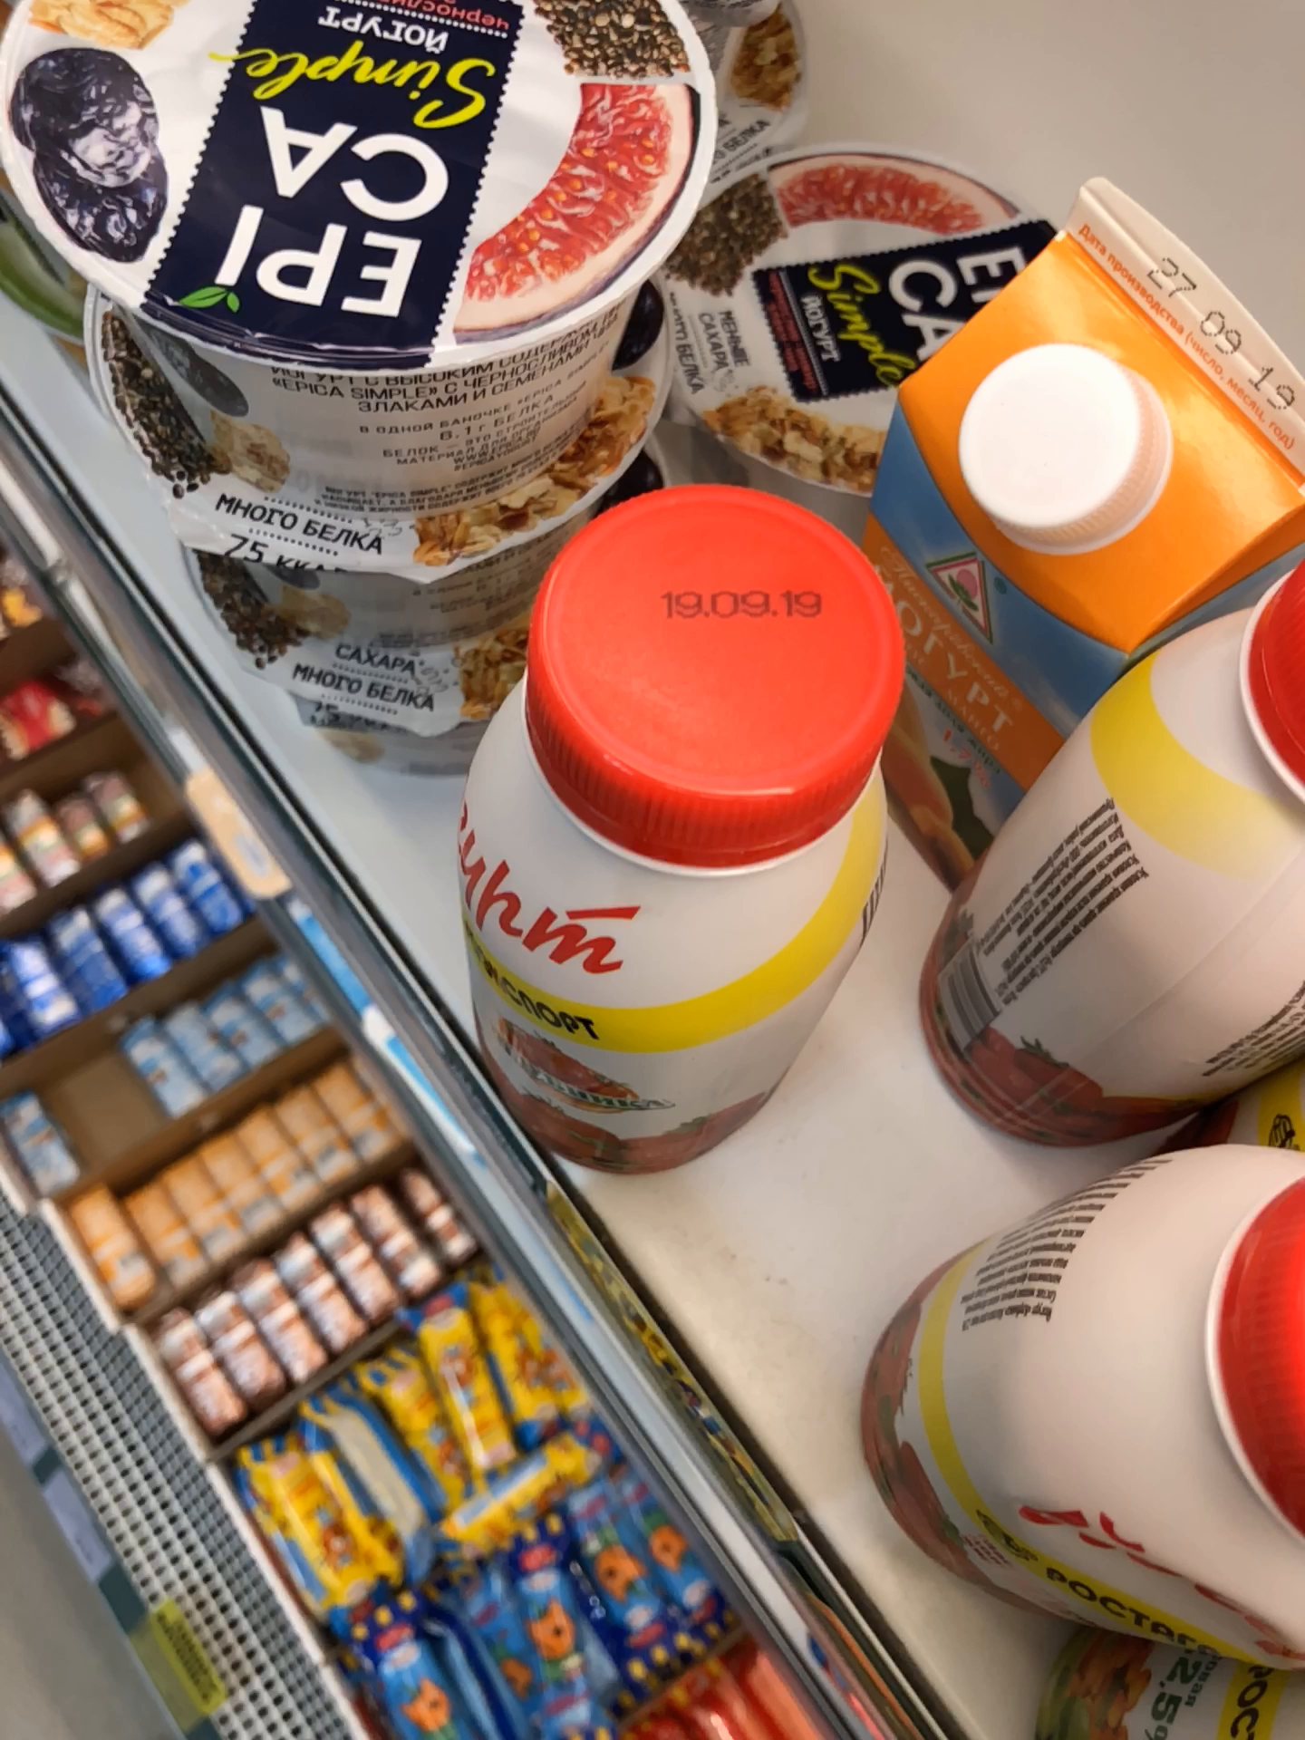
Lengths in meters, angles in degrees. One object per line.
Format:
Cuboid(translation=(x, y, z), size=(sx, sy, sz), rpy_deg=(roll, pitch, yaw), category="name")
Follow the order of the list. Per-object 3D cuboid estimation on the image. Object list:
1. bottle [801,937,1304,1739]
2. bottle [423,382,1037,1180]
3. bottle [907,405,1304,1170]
Cuboid(translation=(0.069, 0.070, 0.194), size=(0.058, 0.147, 0.057), rpy_deg=(1, 68, -3), category="bottle")
Cuboid(translation=(0.002, 0.002, 0.218), size=(0.056, 0.147, 0.058), rpy_deg=(1, 68, -3), category="bottle")
Cuboid(translation=(0.080, 0.003, 0.222), size=(0.052, 0.147, 0.055), rpy_deg=(1, 68, -3), category="bottle")
